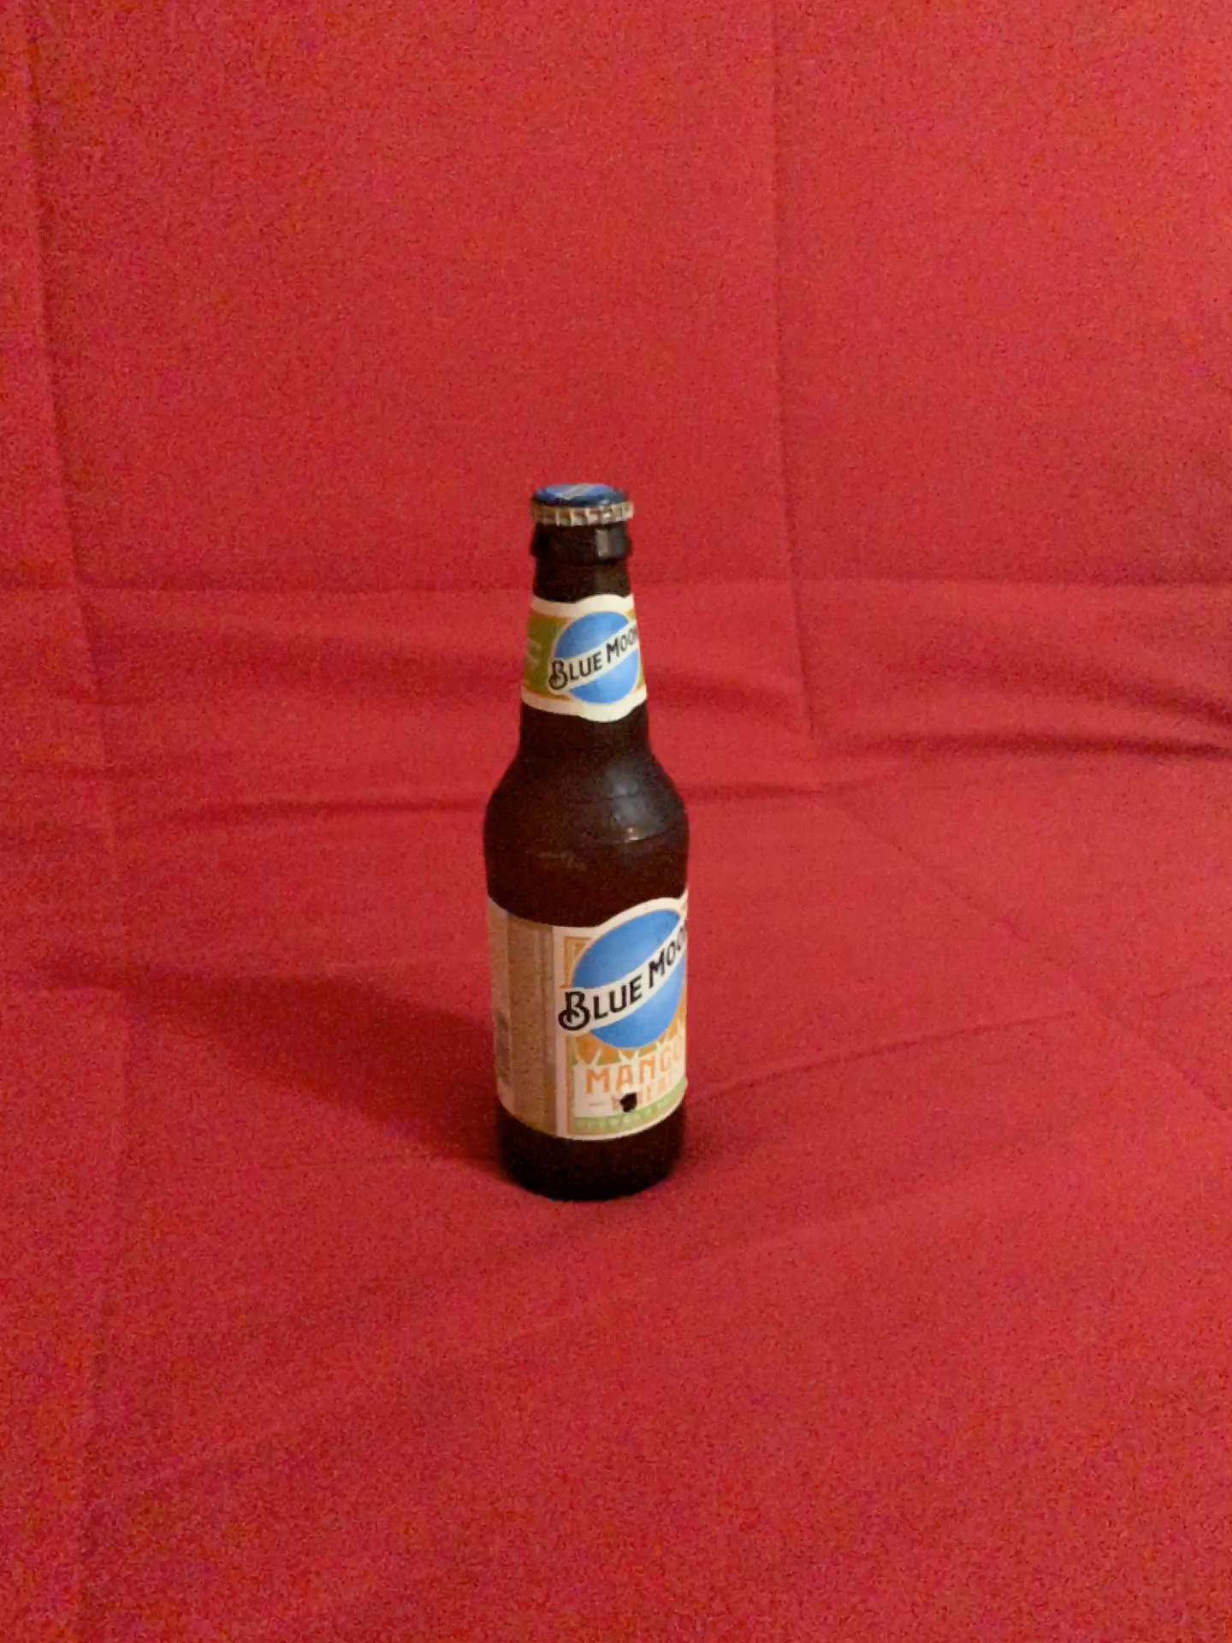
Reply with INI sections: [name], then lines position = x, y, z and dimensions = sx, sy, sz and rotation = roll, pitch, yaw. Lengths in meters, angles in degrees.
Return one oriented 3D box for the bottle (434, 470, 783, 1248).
[bottle]
position = -0.006, 0.013, 0.384
dimensions = 0.070, 0.216, 0.069
rotation = 1, 26, -1
